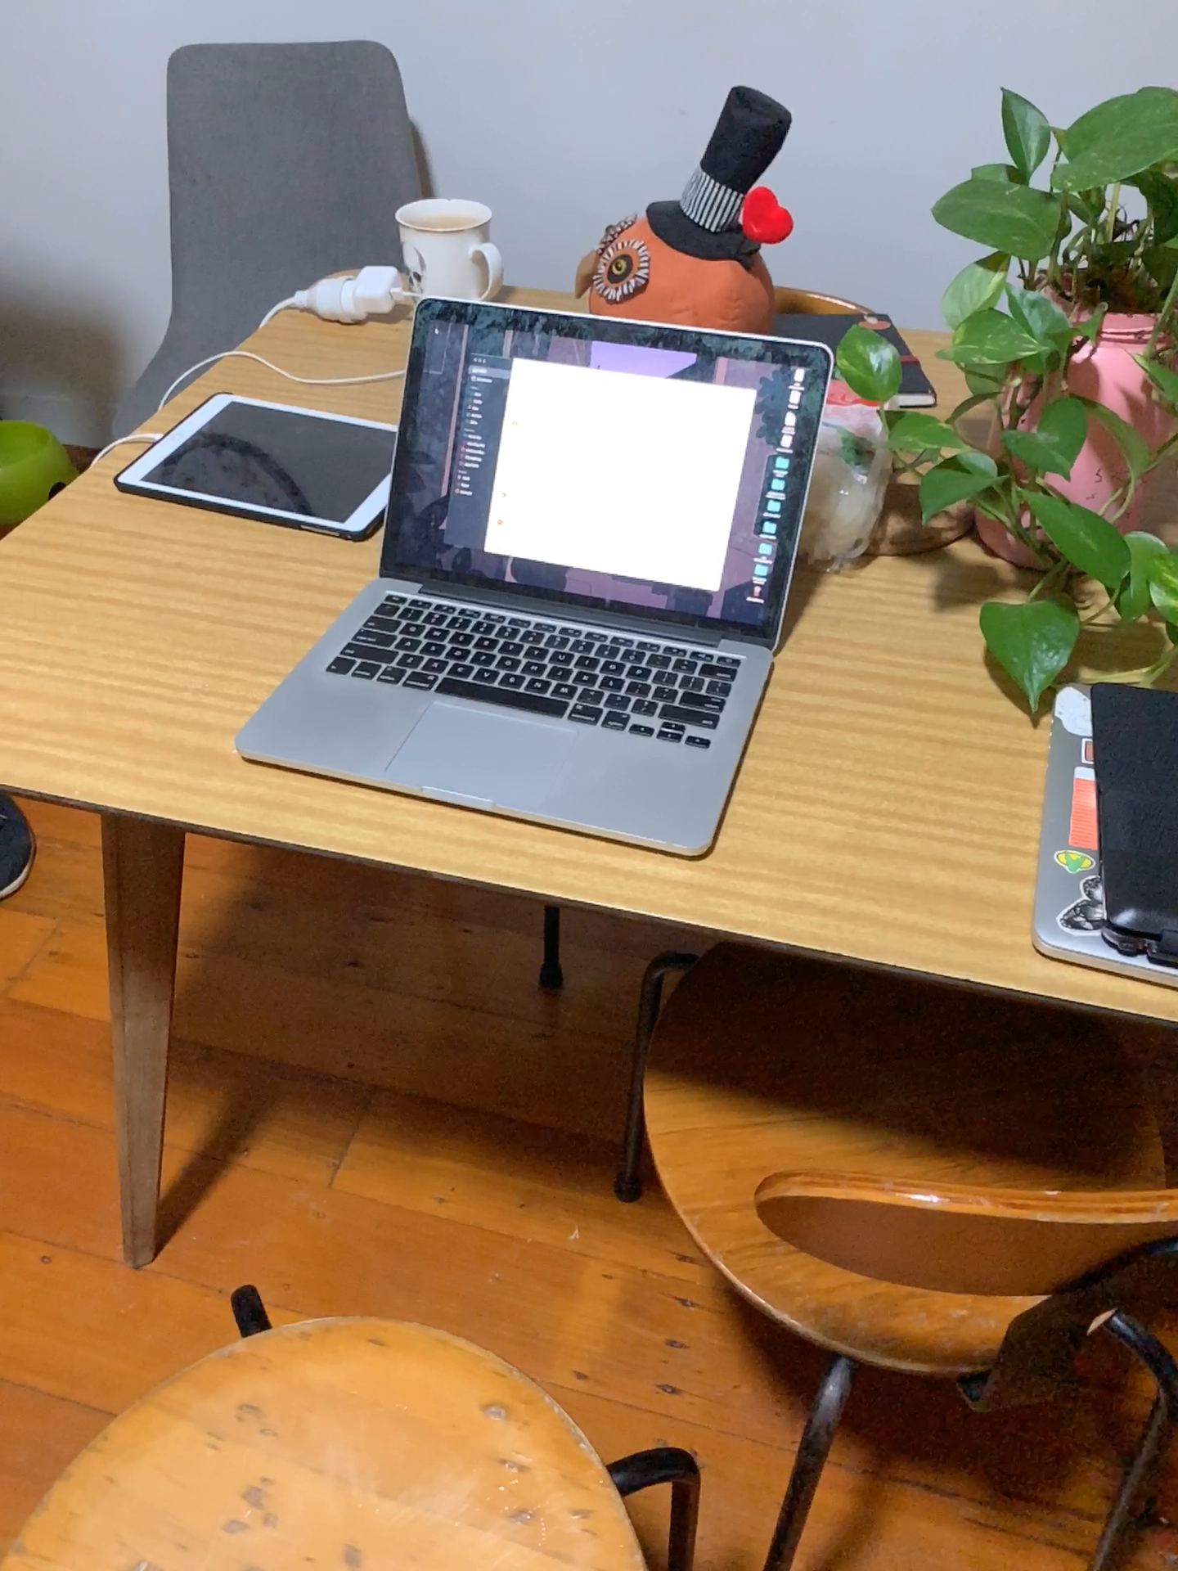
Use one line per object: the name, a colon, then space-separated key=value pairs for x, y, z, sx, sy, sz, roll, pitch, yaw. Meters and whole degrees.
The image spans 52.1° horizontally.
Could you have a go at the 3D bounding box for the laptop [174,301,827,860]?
laptop: x=-0.027 y=-0.136 z=0.676 sx=0.263 sy=0.144 sz=0.288 roll=12 pitch=42 yaw=14
